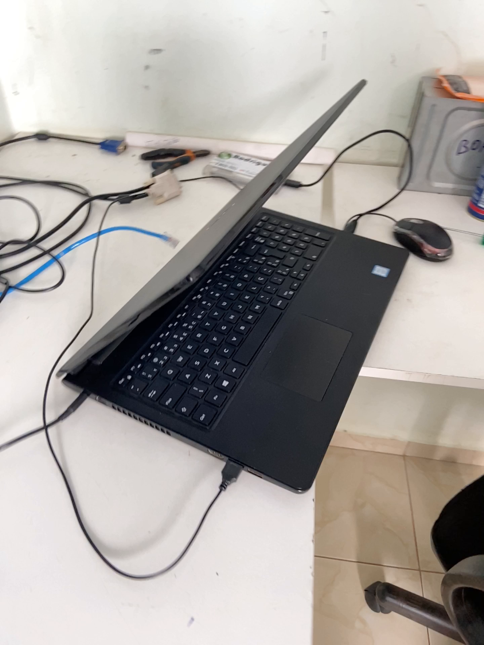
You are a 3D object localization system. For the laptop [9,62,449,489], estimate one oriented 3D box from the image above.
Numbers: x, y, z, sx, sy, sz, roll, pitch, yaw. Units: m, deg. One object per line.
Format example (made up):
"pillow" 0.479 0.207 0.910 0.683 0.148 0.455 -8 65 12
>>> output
"laptop" 0.024 -0.090 0.506 0.255 0.192 0.374 19 46 17
